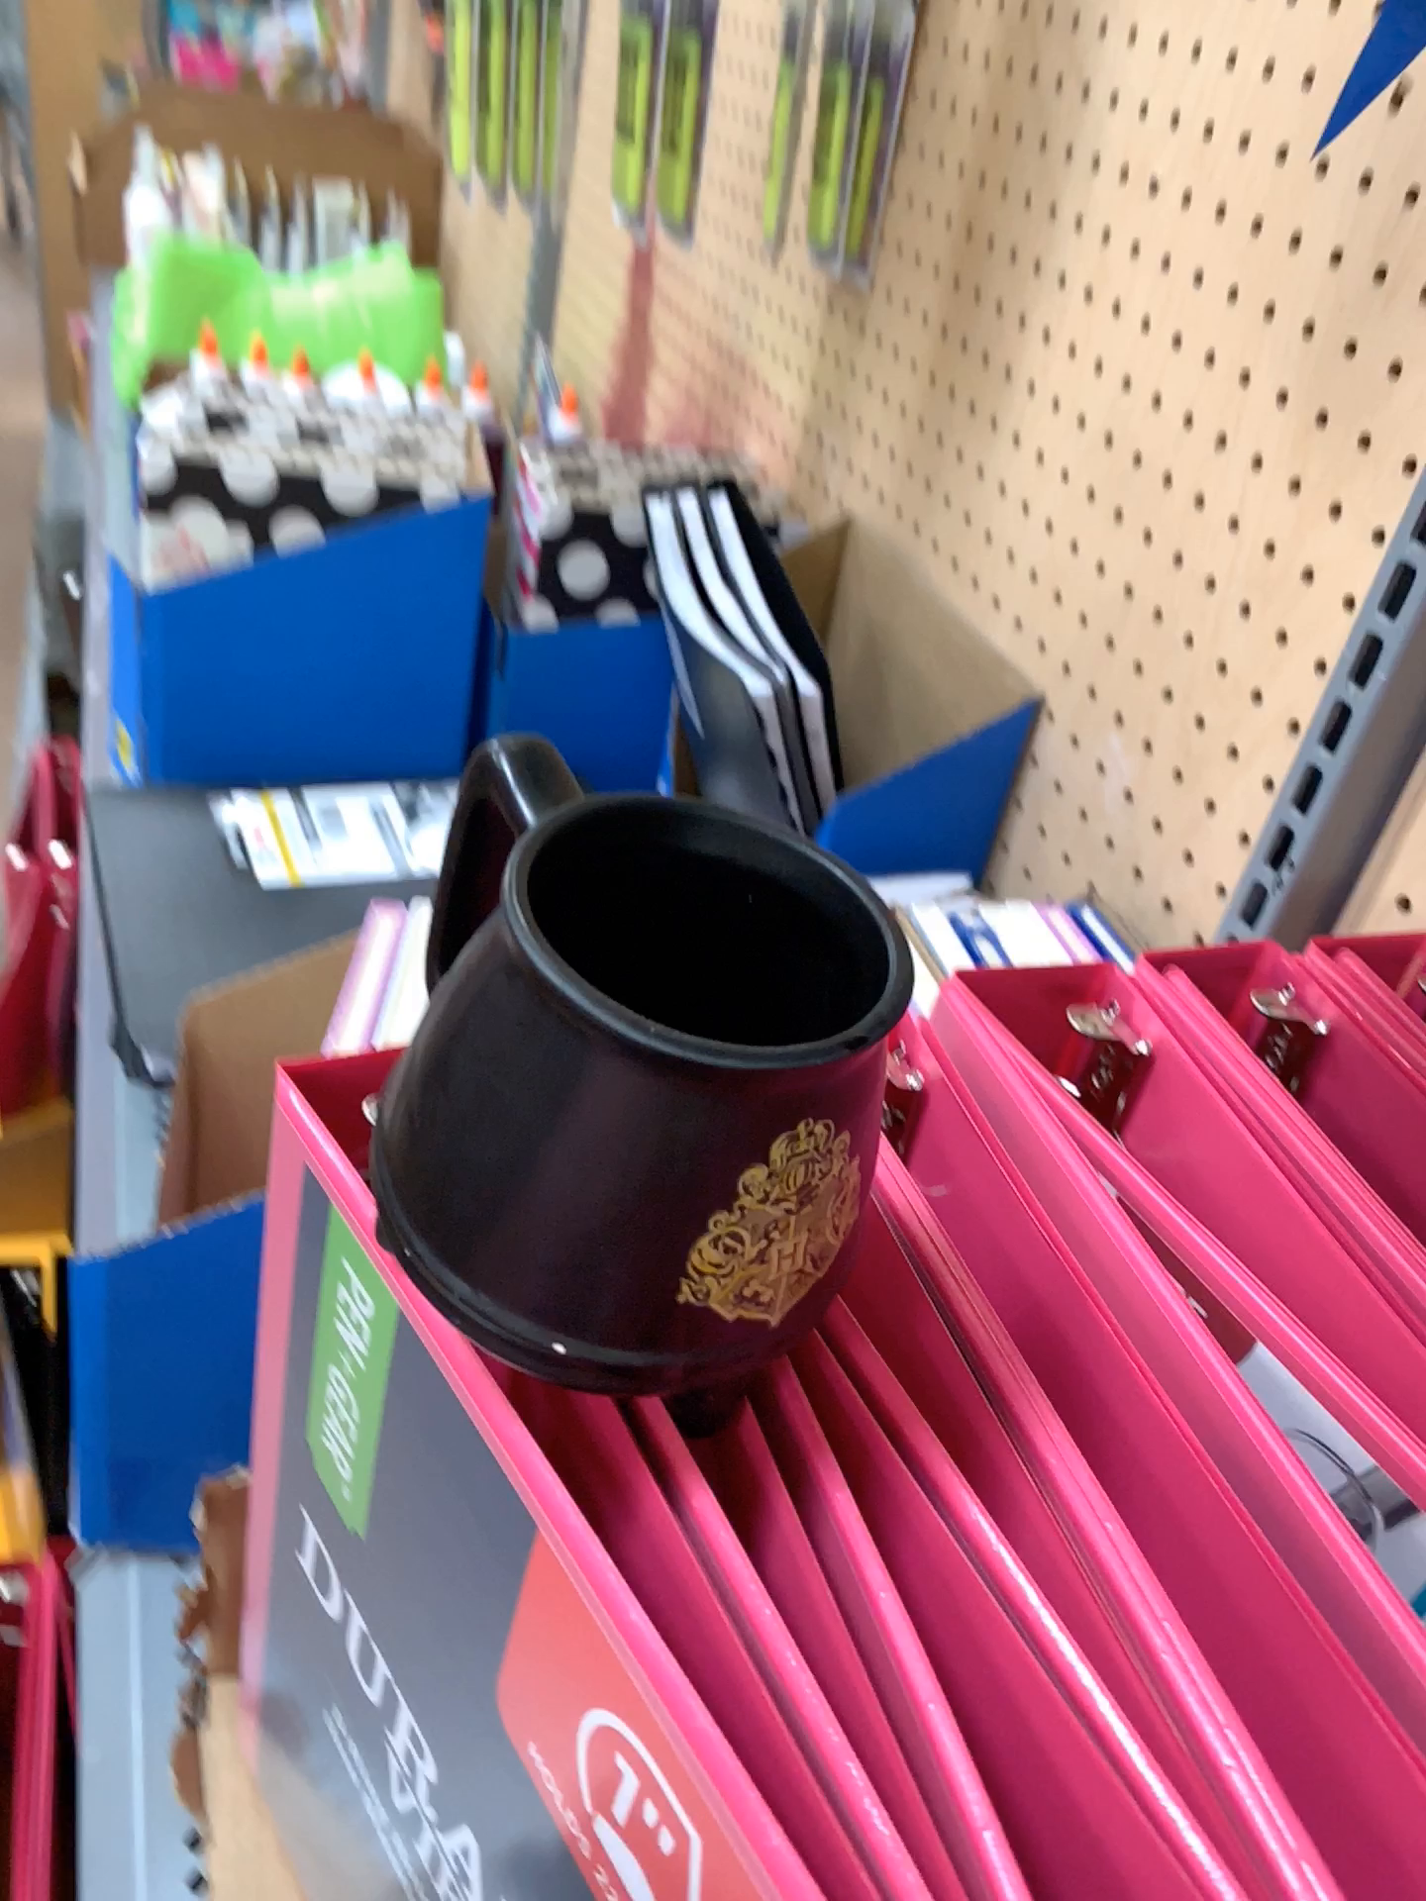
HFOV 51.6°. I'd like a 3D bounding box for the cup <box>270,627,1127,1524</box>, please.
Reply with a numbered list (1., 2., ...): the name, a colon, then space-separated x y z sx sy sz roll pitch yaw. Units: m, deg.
1. cup: -0.014 0.013 0.281 0.097 0.093 0.122 -14 44 -33
